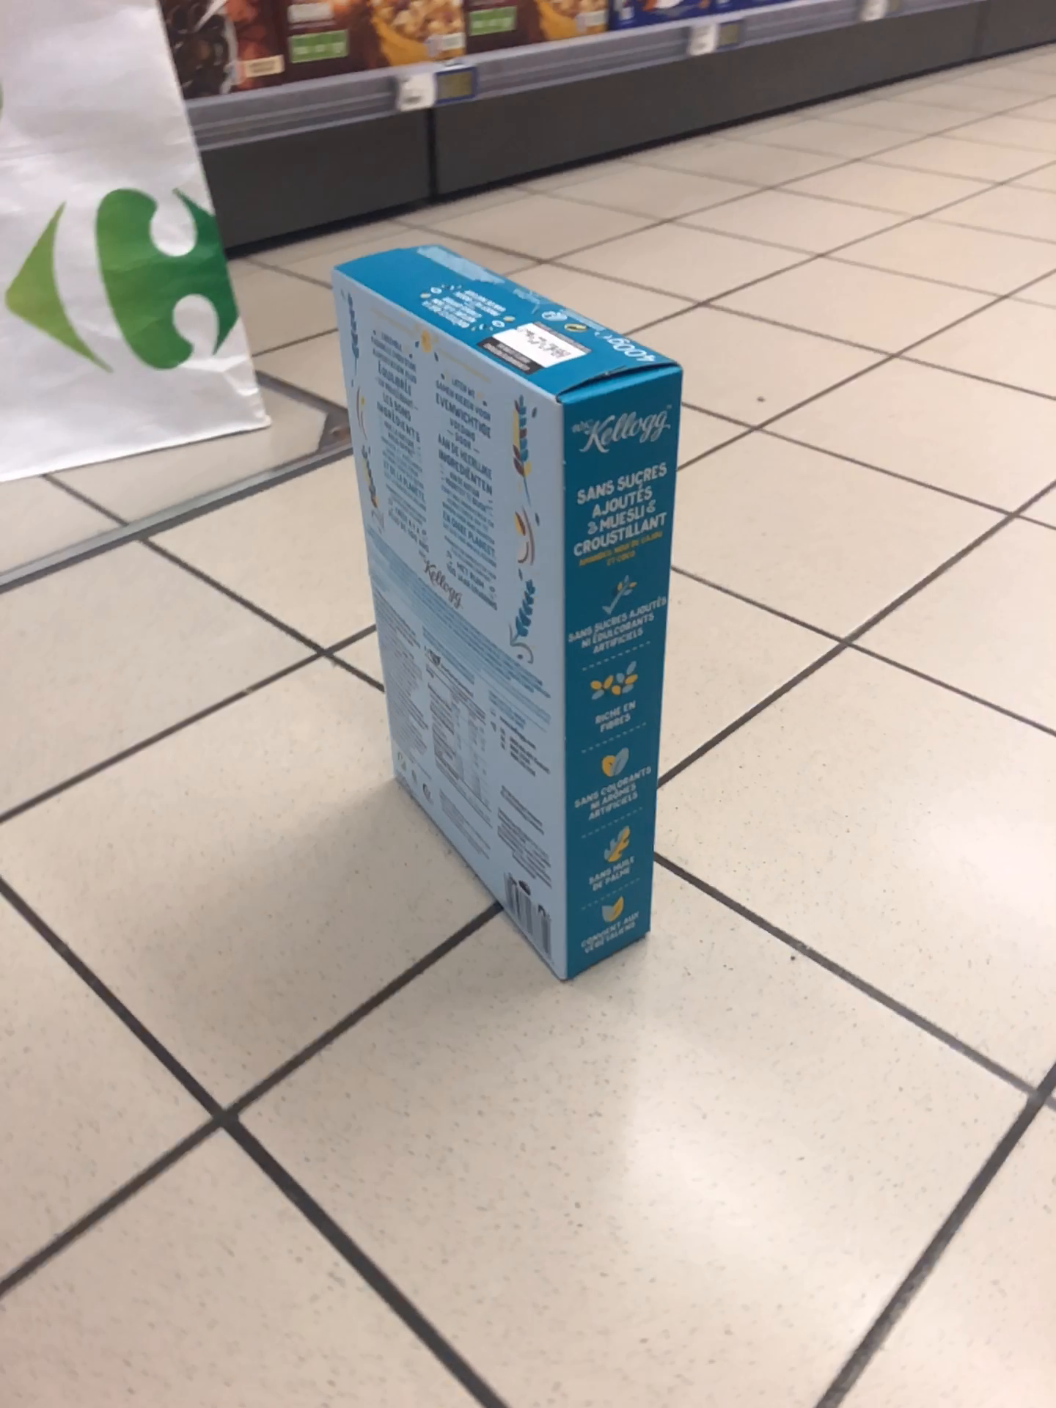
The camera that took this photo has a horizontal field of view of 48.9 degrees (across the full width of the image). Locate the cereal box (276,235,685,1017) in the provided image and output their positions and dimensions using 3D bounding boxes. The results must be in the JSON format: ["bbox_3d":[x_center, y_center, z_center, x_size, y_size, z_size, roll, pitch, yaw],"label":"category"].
[{"bbox_3d":[-0.021,-0.027,0.429,0.050,0.239,0.160,-22,41,-26],"label":"cereal box"}]
